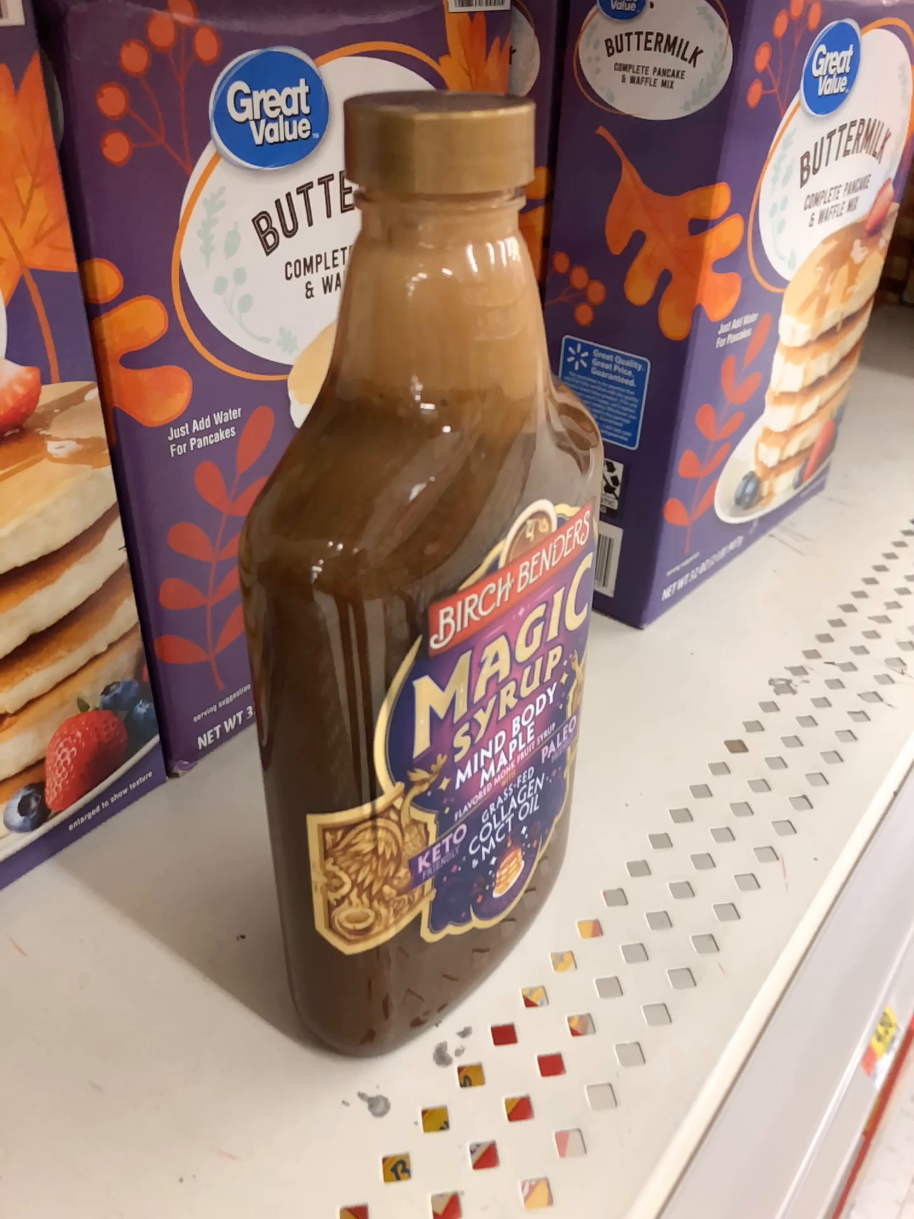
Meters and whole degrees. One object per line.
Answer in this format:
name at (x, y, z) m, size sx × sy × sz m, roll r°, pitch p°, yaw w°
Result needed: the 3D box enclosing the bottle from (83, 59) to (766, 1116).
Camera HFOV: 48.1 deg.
bottle at (0.000, -0.003, 0.203) m, size 0.050 × 0.180 × 0.100 m, roll 25°, pitch 39°, yaw 32°
